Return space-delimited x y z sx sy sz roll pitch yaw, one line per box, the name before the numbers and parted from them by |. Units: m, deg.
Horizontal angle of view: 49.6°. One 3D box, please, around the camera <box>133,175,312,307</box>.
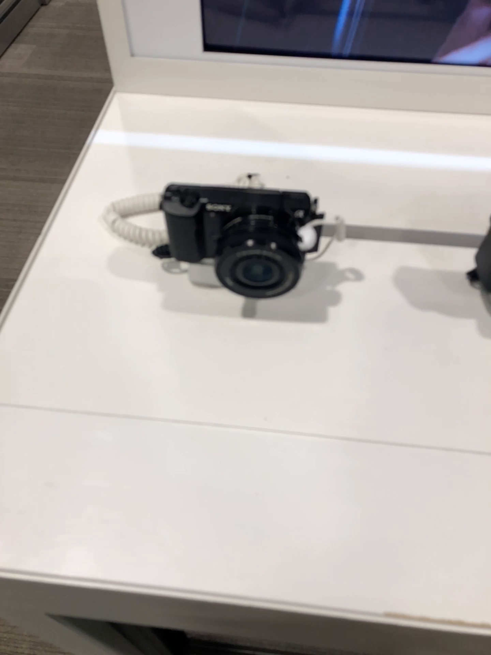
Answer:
camera | -0.013 -0.062 0.381 0.113 0.060 0.062 5 53 4
